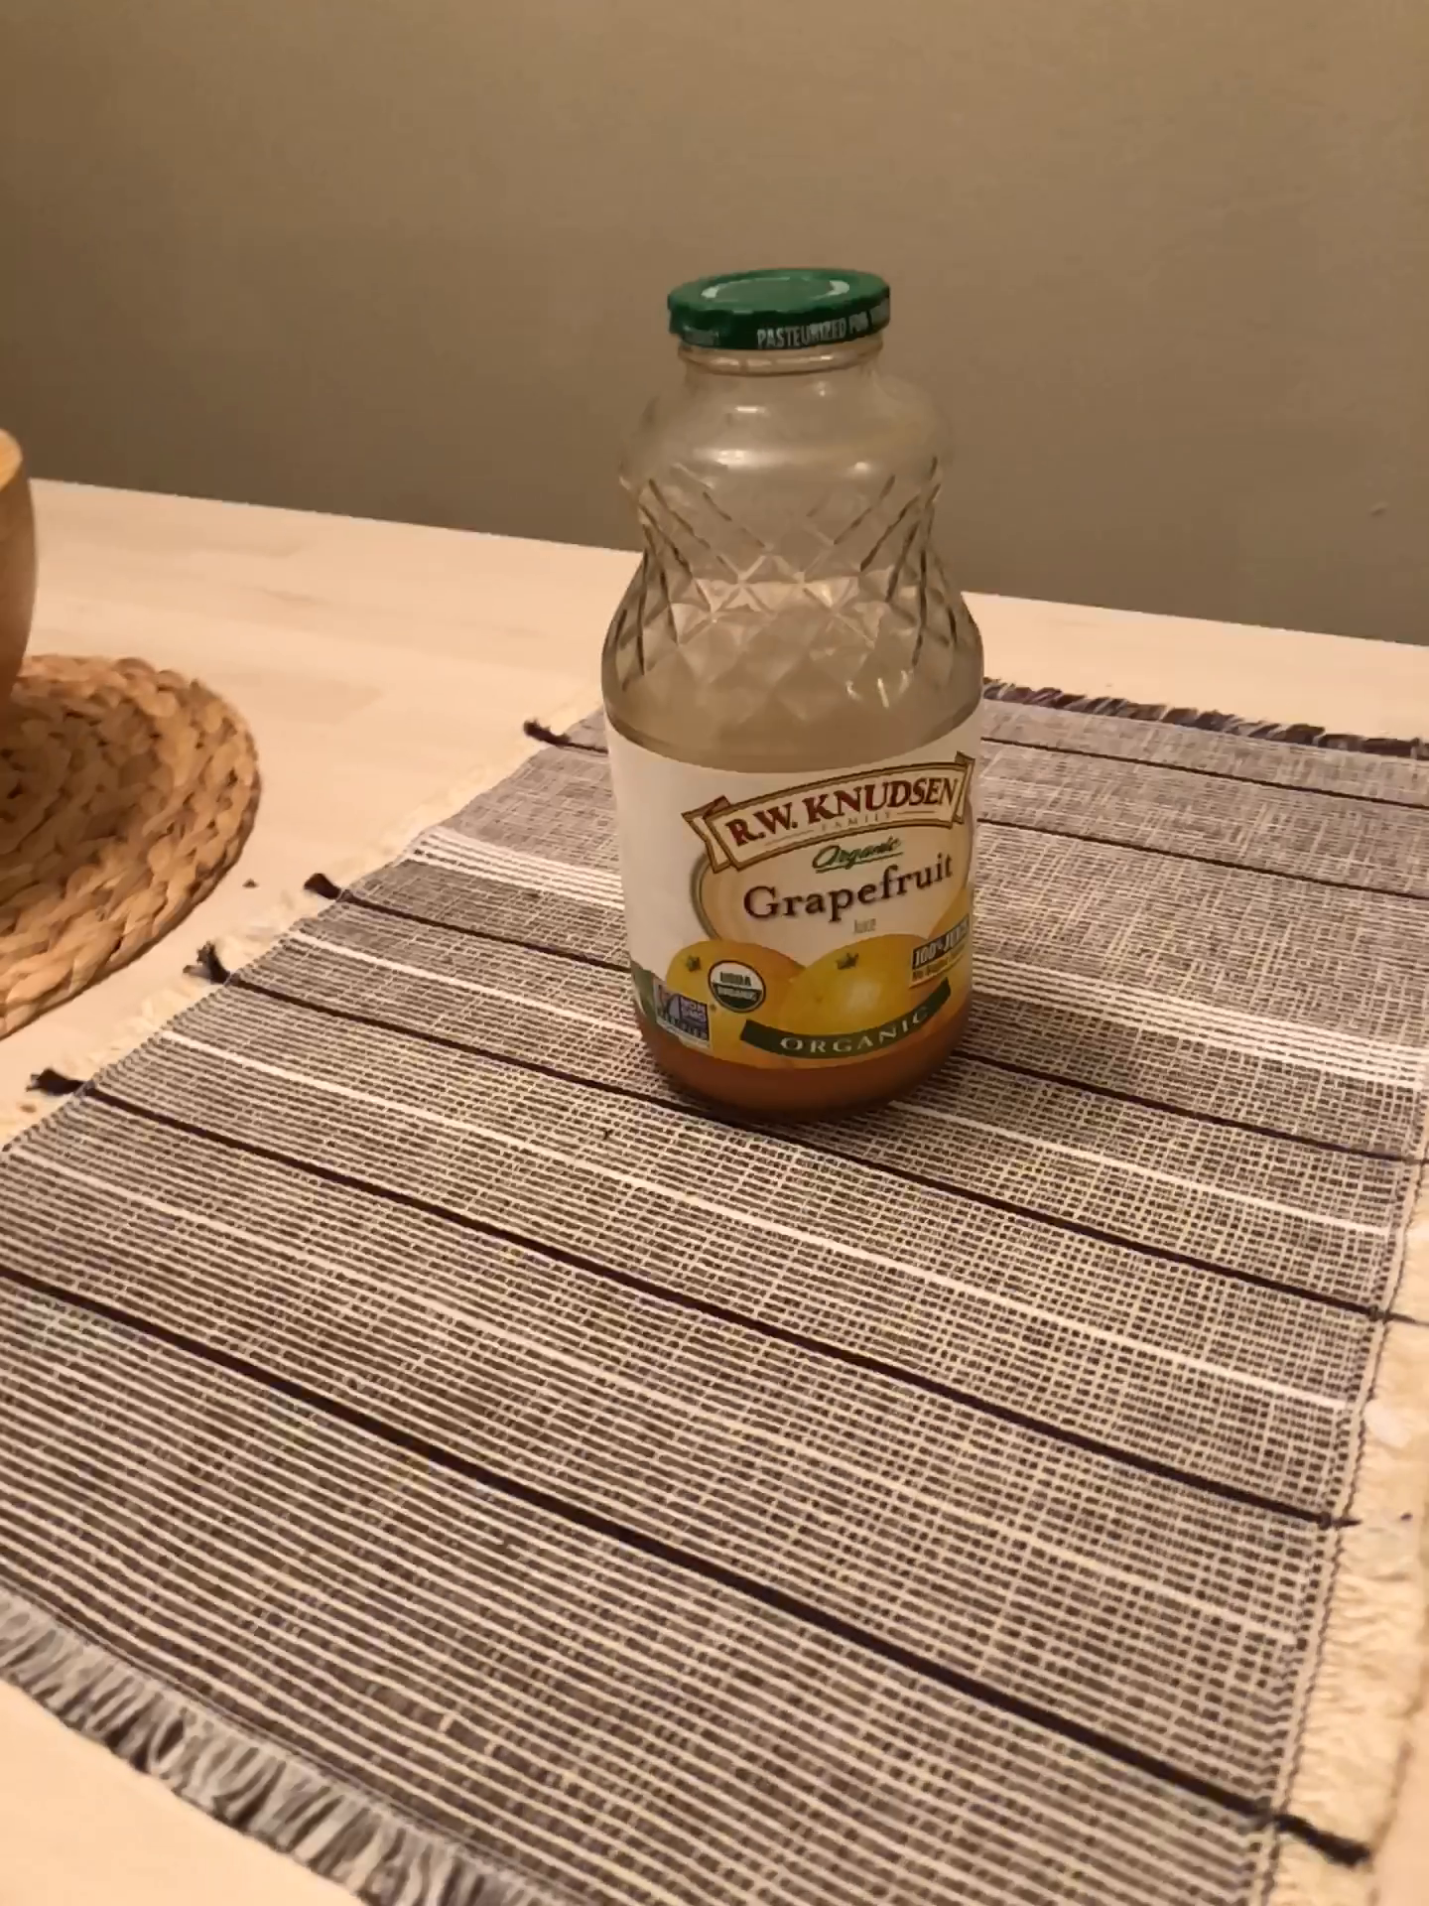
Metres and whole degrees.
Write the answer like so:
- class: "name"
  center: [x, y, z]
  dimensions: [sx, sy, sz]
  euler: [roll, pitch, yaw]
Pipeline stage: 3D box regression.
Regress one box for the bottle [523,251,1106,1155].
- class: "bottle"
  center: [0.022, -0.065, 0.400]
  dimensions: [0.100, 0.189, 0.101]
  euler: [-3, 31, 2]
